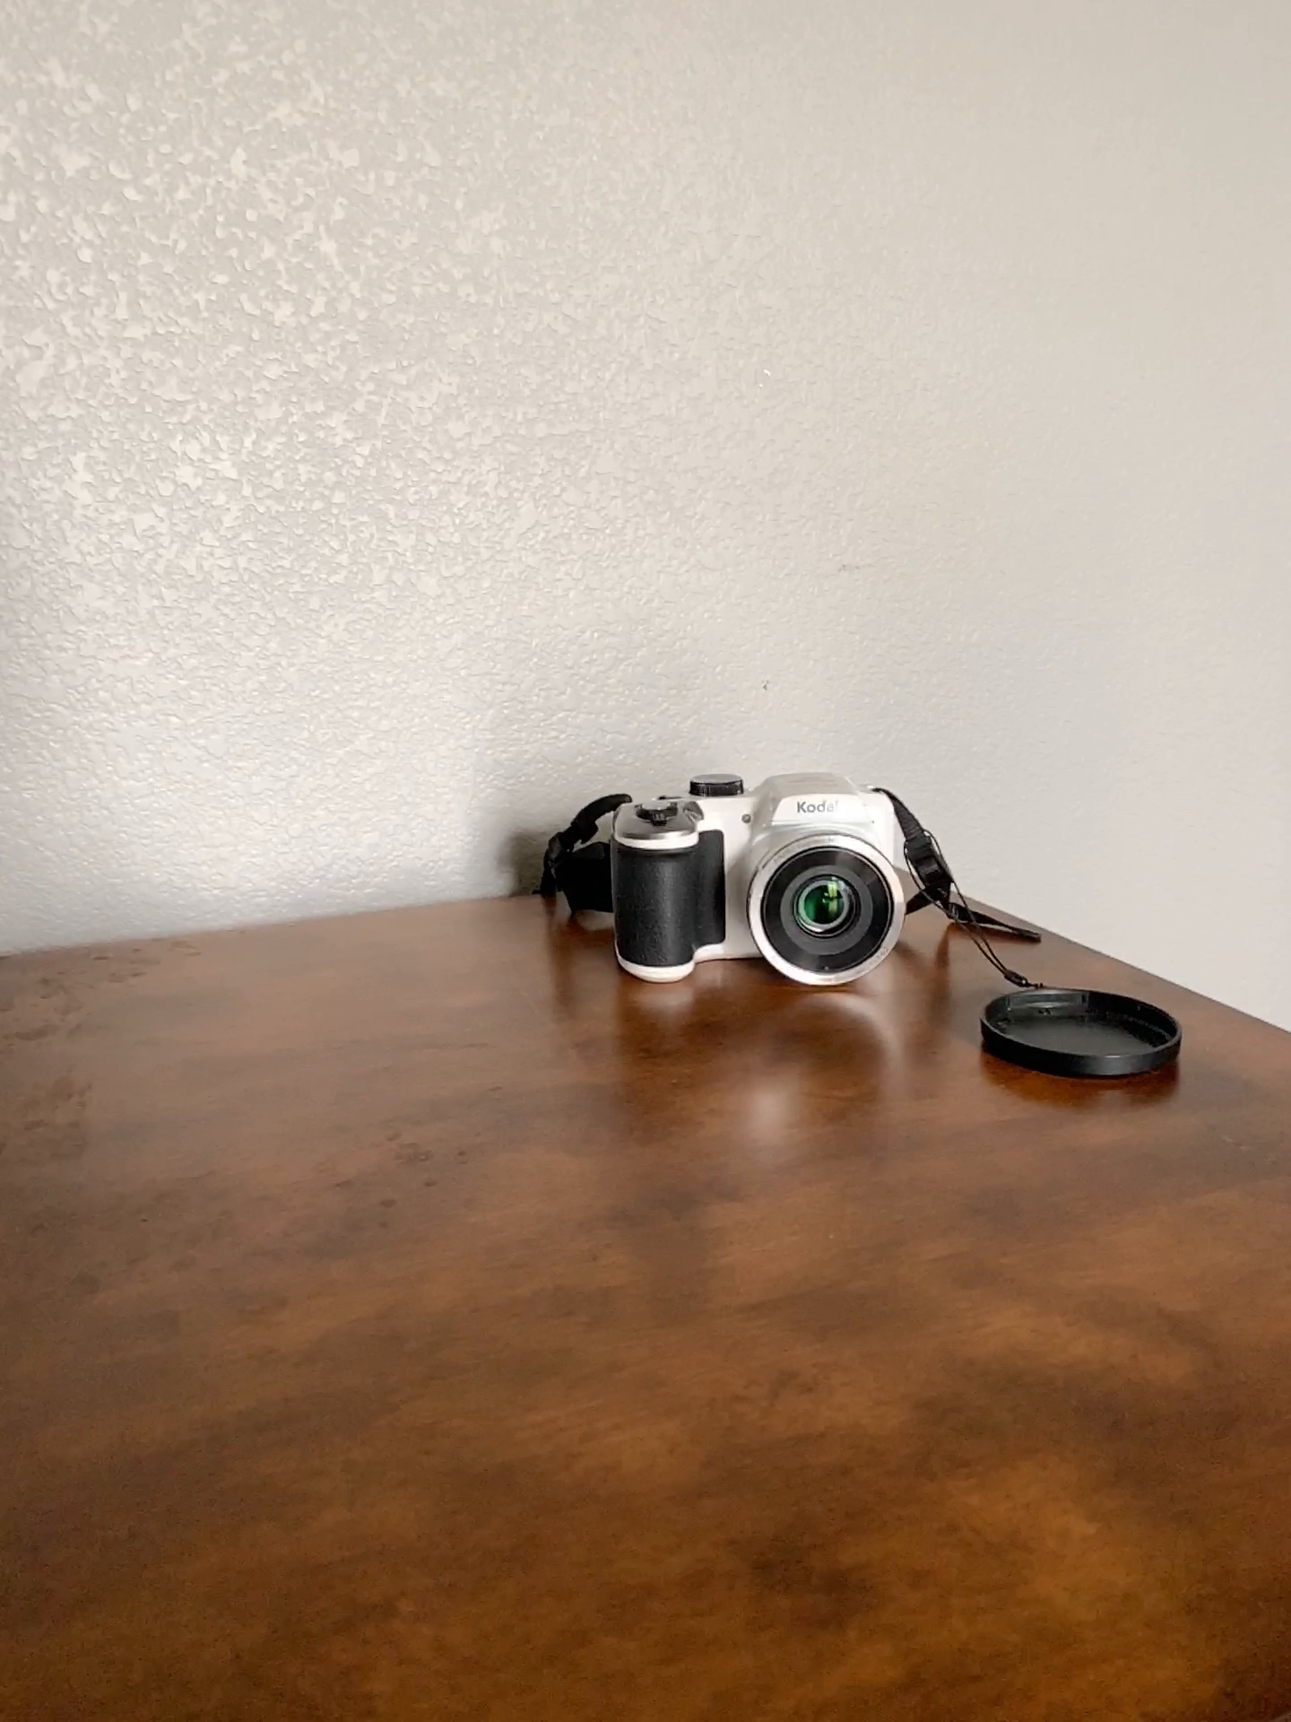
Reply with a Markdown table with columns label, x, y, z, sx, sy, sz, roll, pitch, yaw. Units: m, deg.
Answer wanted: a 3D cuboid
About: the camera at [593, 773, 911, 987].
| label | x | y | z | sx | sy | sz | roll | pitch | yaw |
| --- | --- | --- | --- | --- | --- | --- | --- | --- | --- |
| camera | 0.044 | 0.006 | 0.539 | 0.119 | 0.071 | 0.070 | -1 | 12 | 6 |
